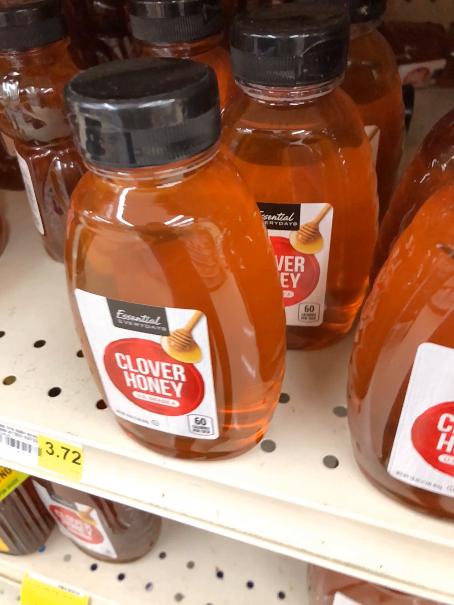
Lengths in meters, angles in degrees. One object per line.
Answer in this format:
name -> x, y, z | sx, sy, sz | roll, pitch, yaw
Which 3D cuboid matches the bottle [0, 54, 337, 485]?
bottle -> -0.013, -0.007, 0.177 | 0.083, 0.130, 0.060 | 9, 43, 16
